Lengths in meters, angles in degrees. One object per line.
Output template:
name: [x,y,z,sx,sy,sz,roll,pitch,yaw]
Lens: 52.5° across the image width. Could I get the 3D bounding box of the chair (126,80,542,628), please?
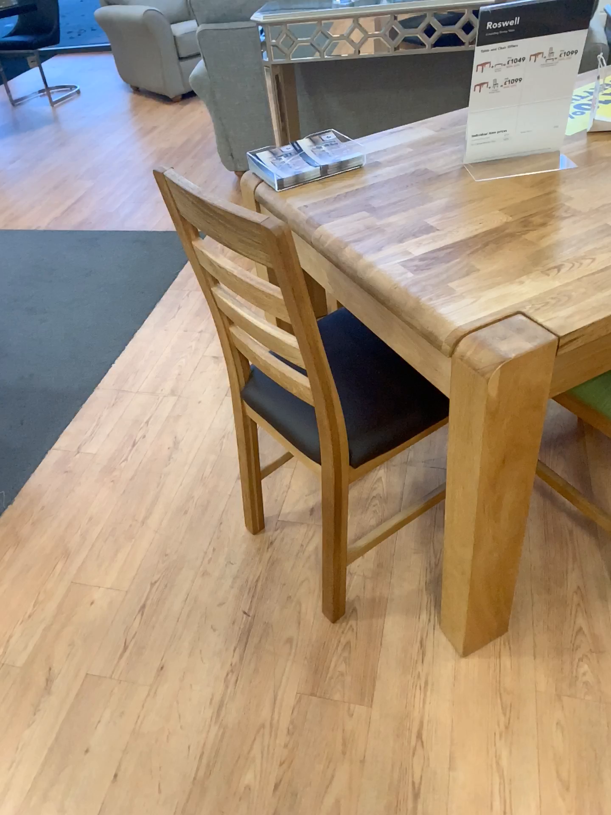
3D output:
chair: [0.083,-0.085,1.291,0.518,0.917,0.424,-29,45,-23]
